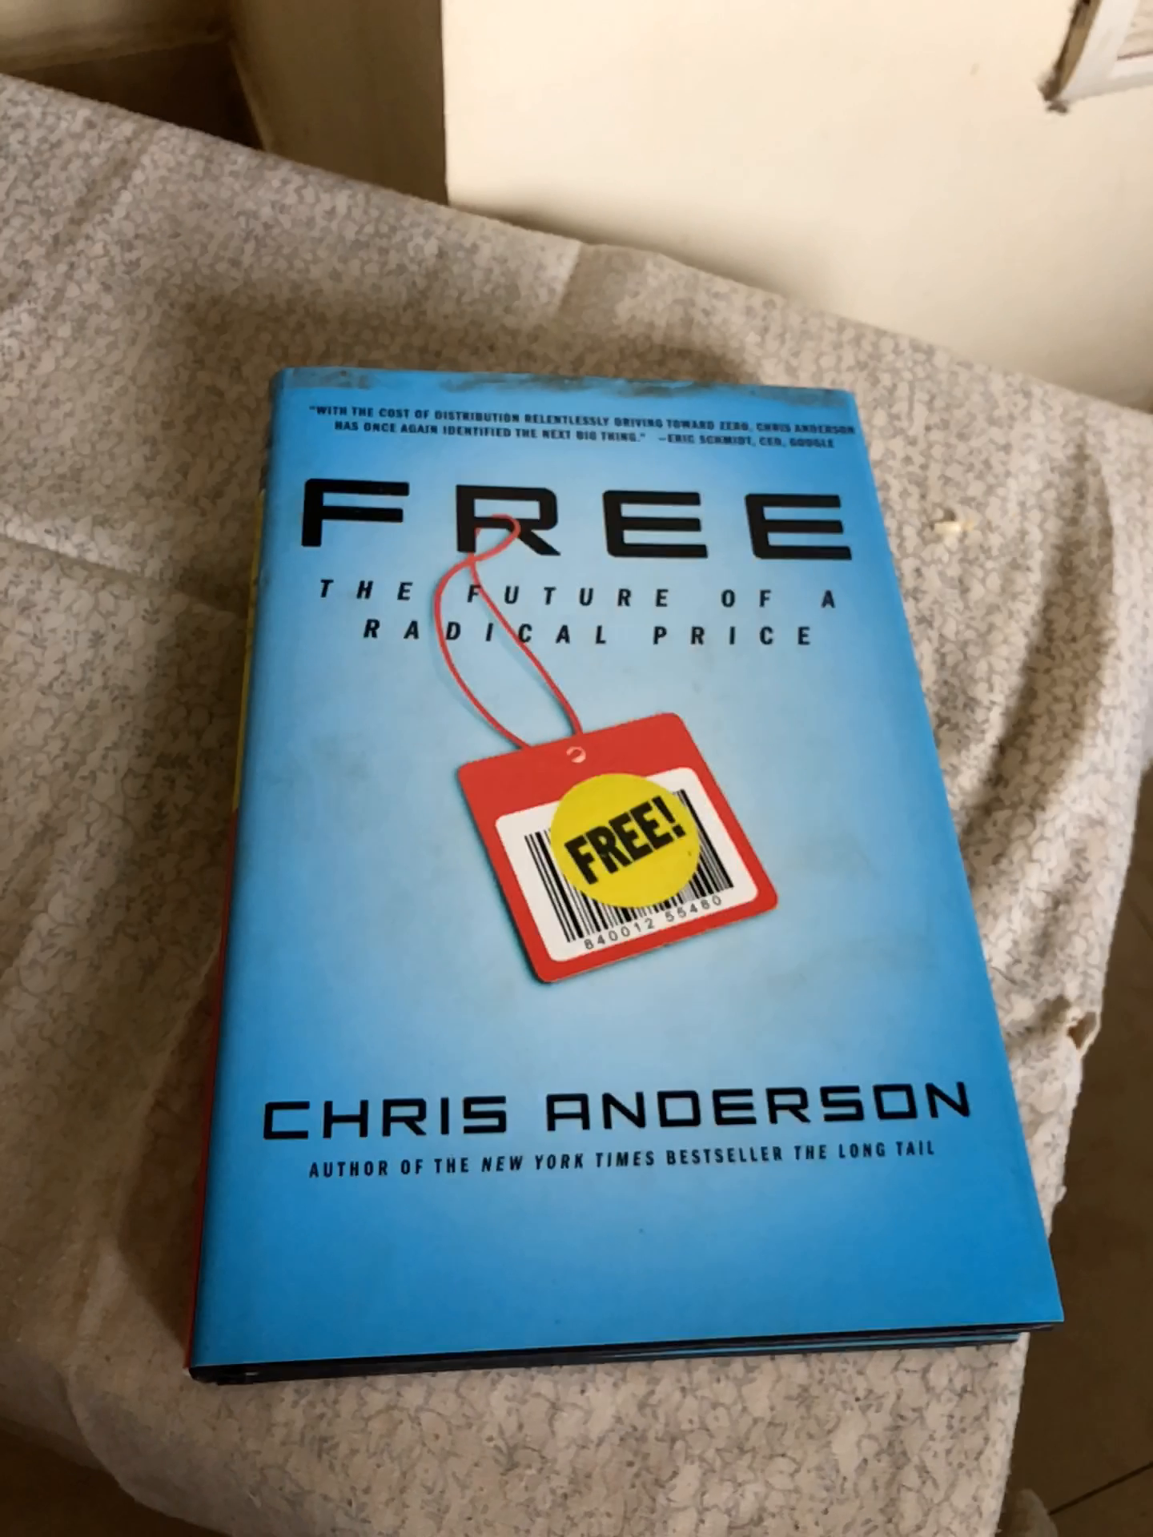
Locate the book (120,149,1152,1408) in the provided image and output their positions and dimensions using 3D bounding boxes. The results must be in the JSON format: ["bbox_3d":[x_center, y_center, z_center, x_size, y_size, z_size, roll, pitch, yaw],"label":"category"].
[{"bbox_3d":[0.019,-0.028,0.274,0.180,0.040,0.281,-1,58,-5],"label":"book"}]
